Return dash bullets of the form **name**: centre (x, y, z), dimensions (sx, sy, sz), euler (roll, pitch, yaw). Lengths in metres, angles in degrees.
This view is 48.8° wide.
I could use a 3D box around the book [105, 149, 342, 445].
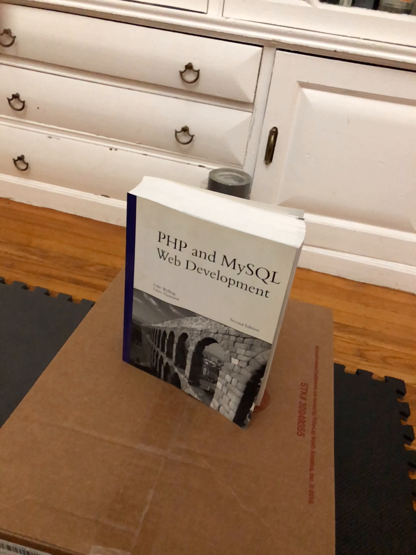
- **book**: centre (0.002, 0.024, 0.495), dimensions (0.200, 0.258, 0.091), euler (19, 36, 17)
